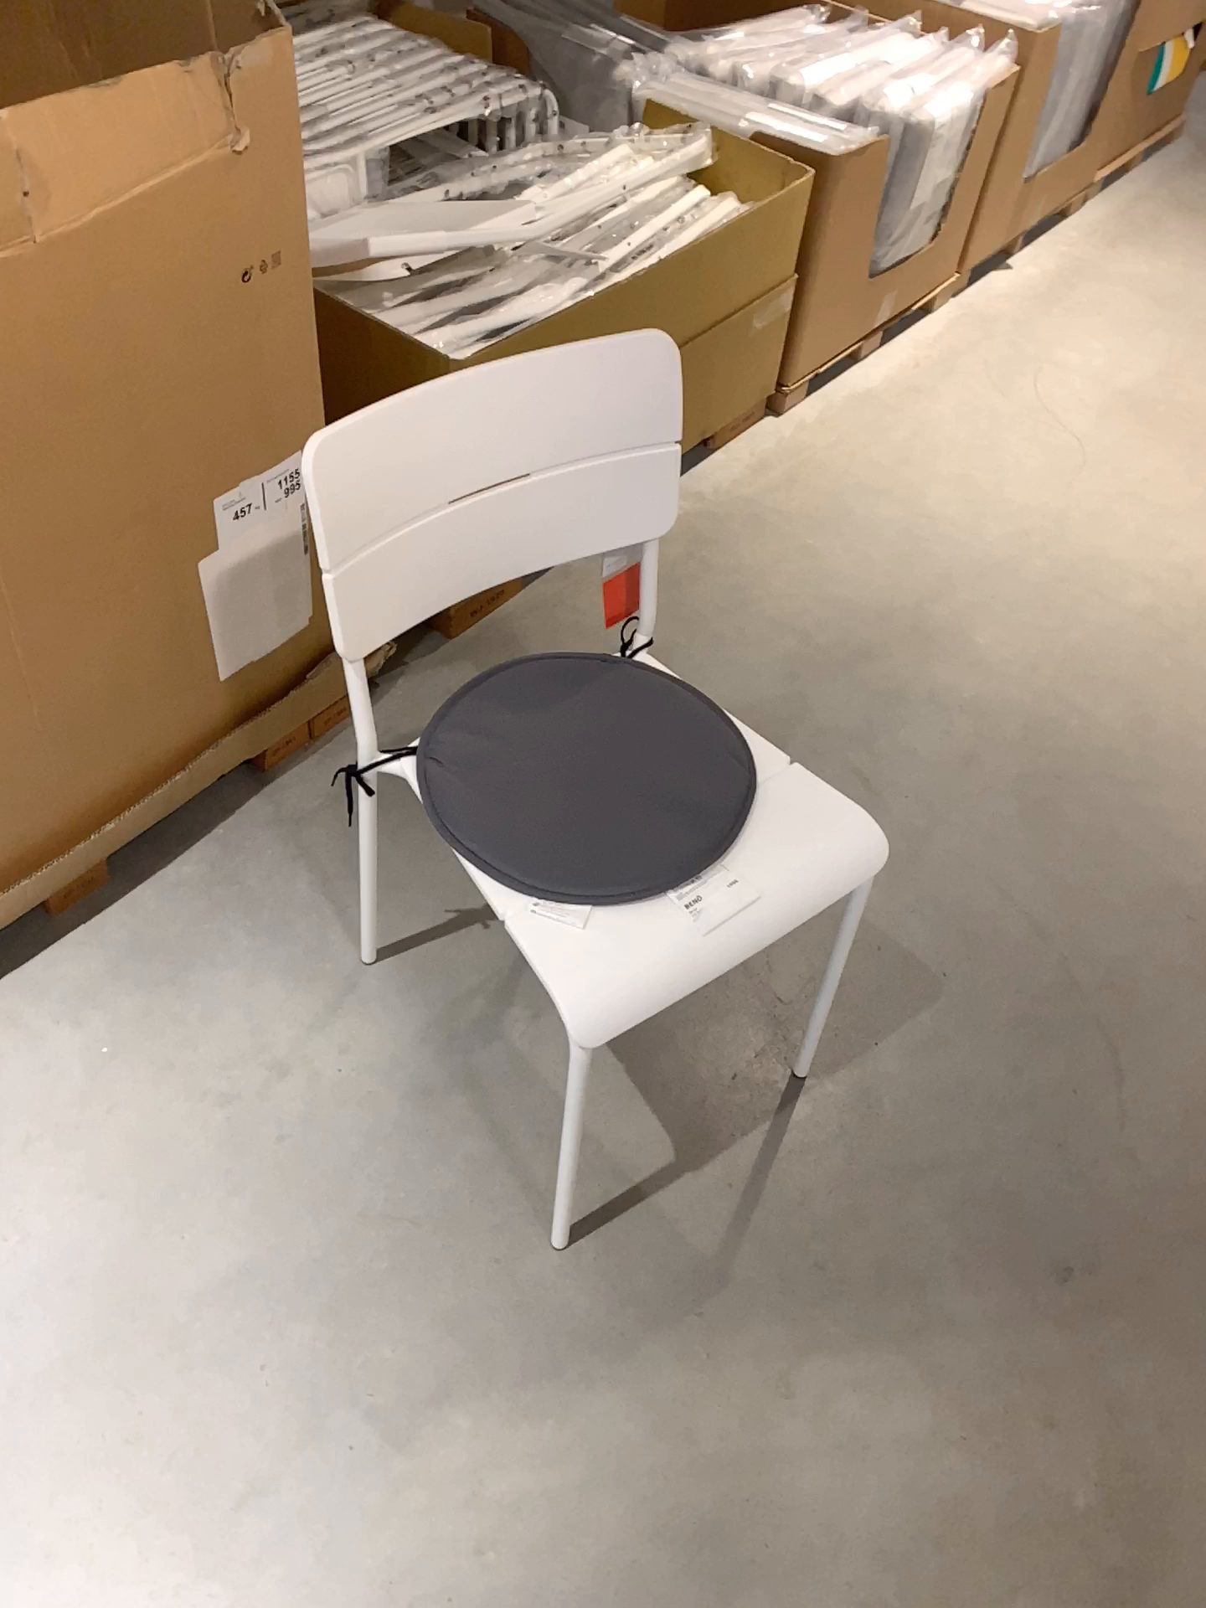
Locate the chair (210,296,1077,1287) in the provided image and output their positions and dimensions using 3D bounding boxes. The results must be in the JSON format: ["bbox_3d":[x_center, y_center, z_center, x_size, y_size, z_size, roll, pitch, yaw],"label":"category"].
[{"bbox_3d":[-0.005,0.005,1.202,0.461,0.718,0.491,-27,56,-26],"label":"chair"}]
